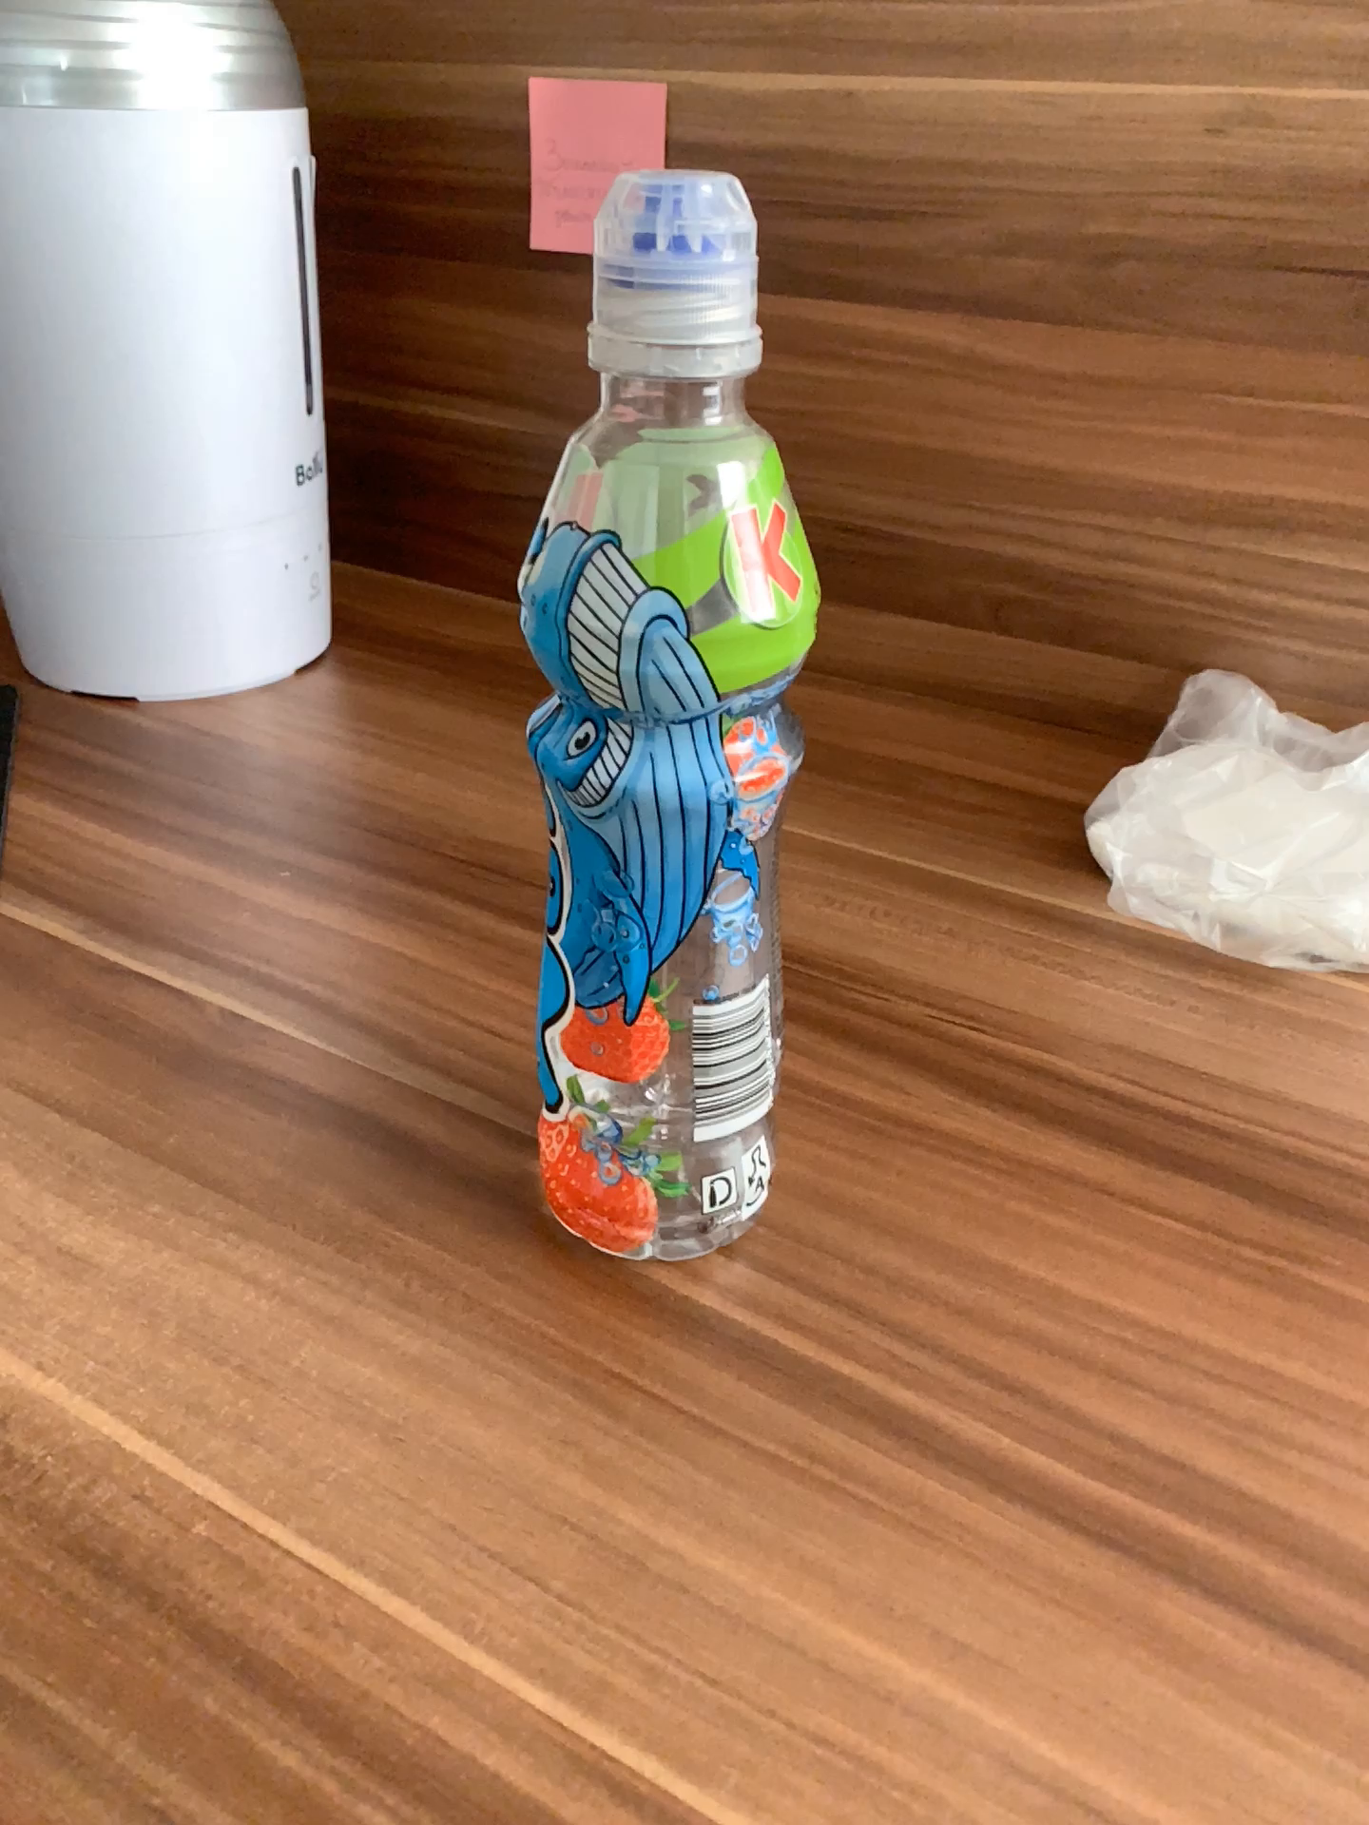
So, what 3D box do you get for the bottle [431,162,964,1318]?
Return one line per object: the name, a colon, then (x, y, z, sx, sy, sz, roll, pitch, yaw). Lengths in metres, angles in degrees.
bottle: (-0.003, -0.032, 0.317, 0.070, 0.239, 0.070, 1, 30, -1)
